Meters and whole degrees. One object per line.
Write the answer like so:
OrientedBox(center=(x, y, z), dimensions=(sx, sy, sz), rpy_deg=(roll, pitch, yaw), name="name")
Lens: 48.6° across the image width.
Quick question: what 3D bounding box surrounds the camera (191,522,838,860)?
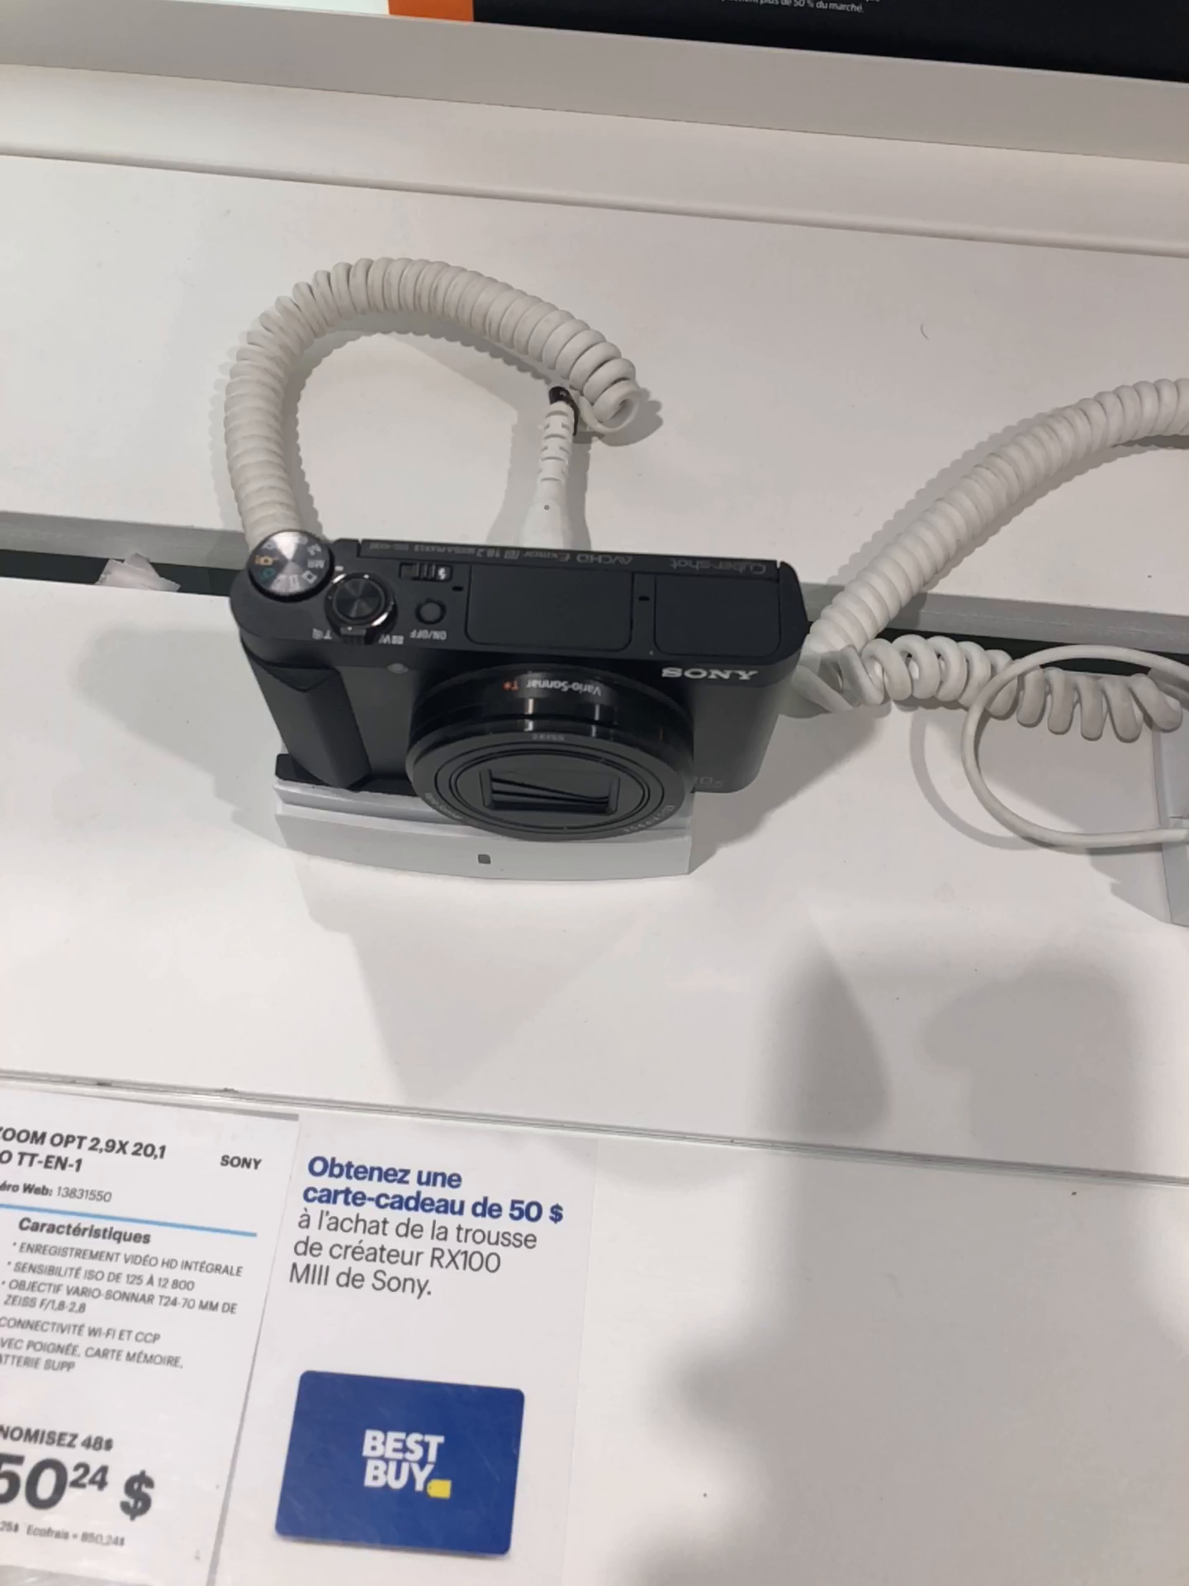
OrientedBox(center=(-0.014, -0.017, 0.262), dimensions=(0.110, 0.070, 0.030), rpy_deg=(3, 63, -1), name="camera")
